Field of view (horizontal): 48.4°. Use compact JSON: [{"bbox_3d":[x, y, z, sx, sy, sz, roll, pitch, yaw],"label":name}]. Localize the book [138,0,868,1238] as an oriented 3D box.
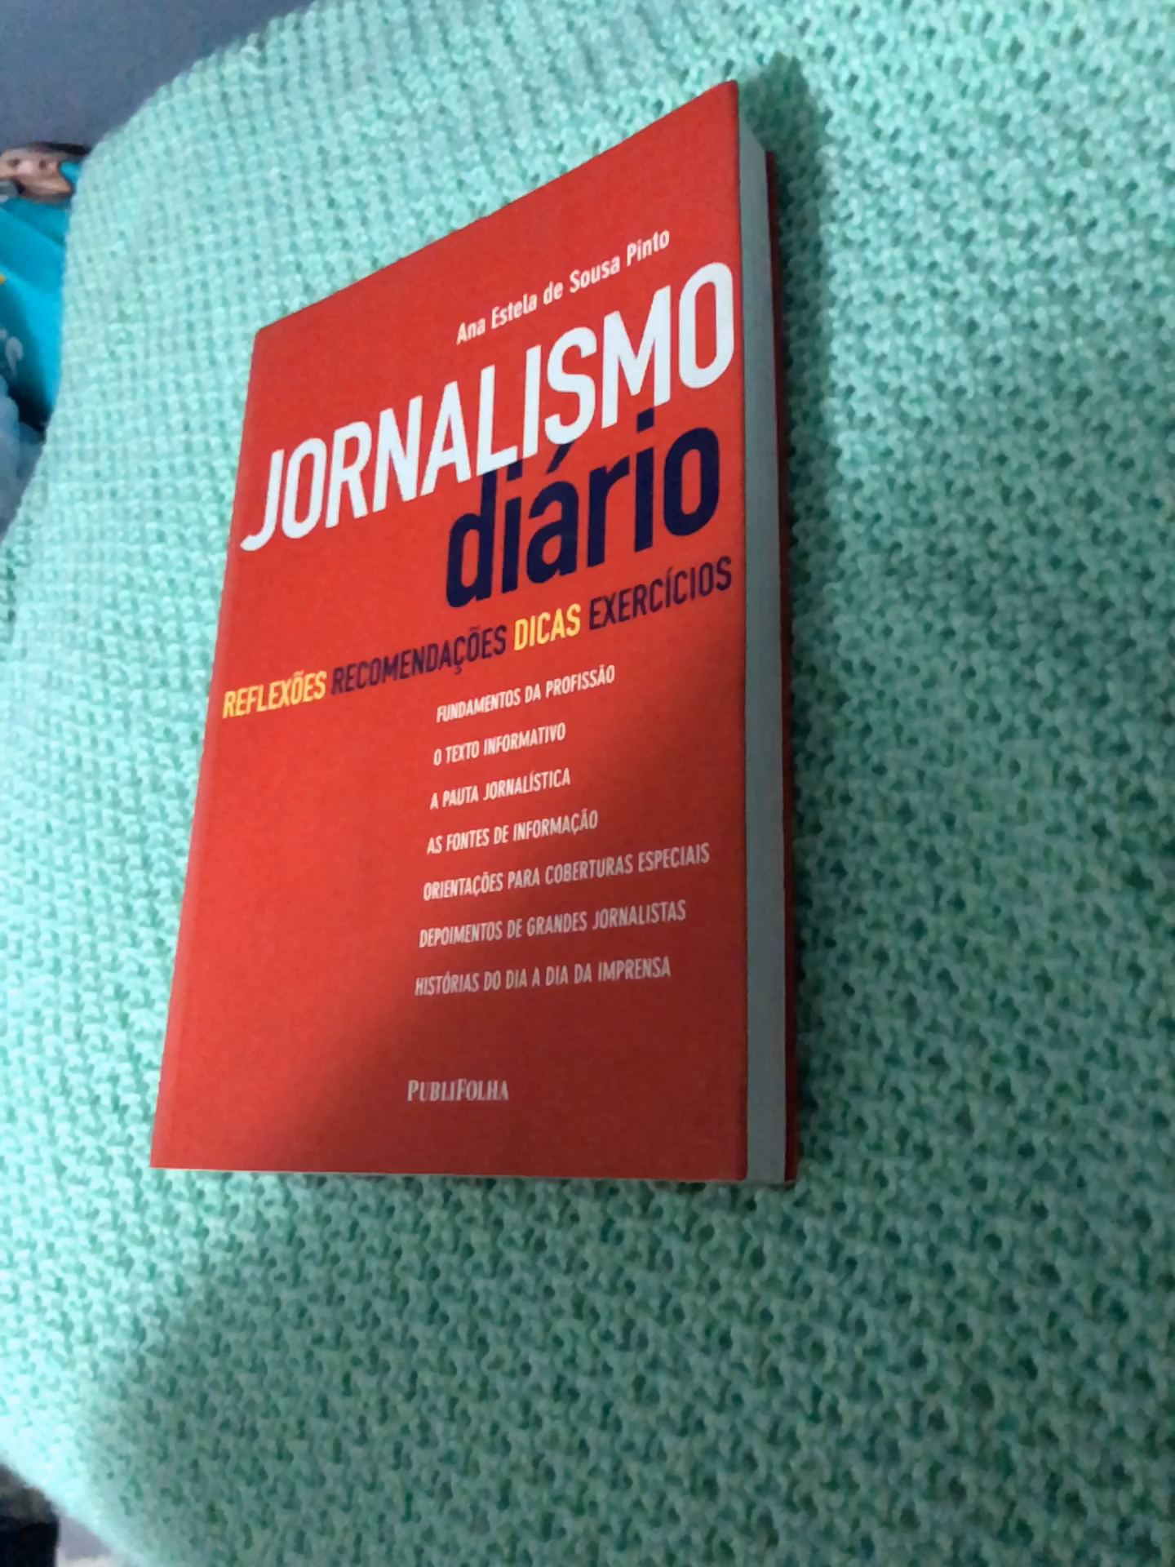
[{"bbox_3d":[-0.024,-0.037,0.286,0.161,0.030,0.250,-12,68,37],"label":"book"}]
